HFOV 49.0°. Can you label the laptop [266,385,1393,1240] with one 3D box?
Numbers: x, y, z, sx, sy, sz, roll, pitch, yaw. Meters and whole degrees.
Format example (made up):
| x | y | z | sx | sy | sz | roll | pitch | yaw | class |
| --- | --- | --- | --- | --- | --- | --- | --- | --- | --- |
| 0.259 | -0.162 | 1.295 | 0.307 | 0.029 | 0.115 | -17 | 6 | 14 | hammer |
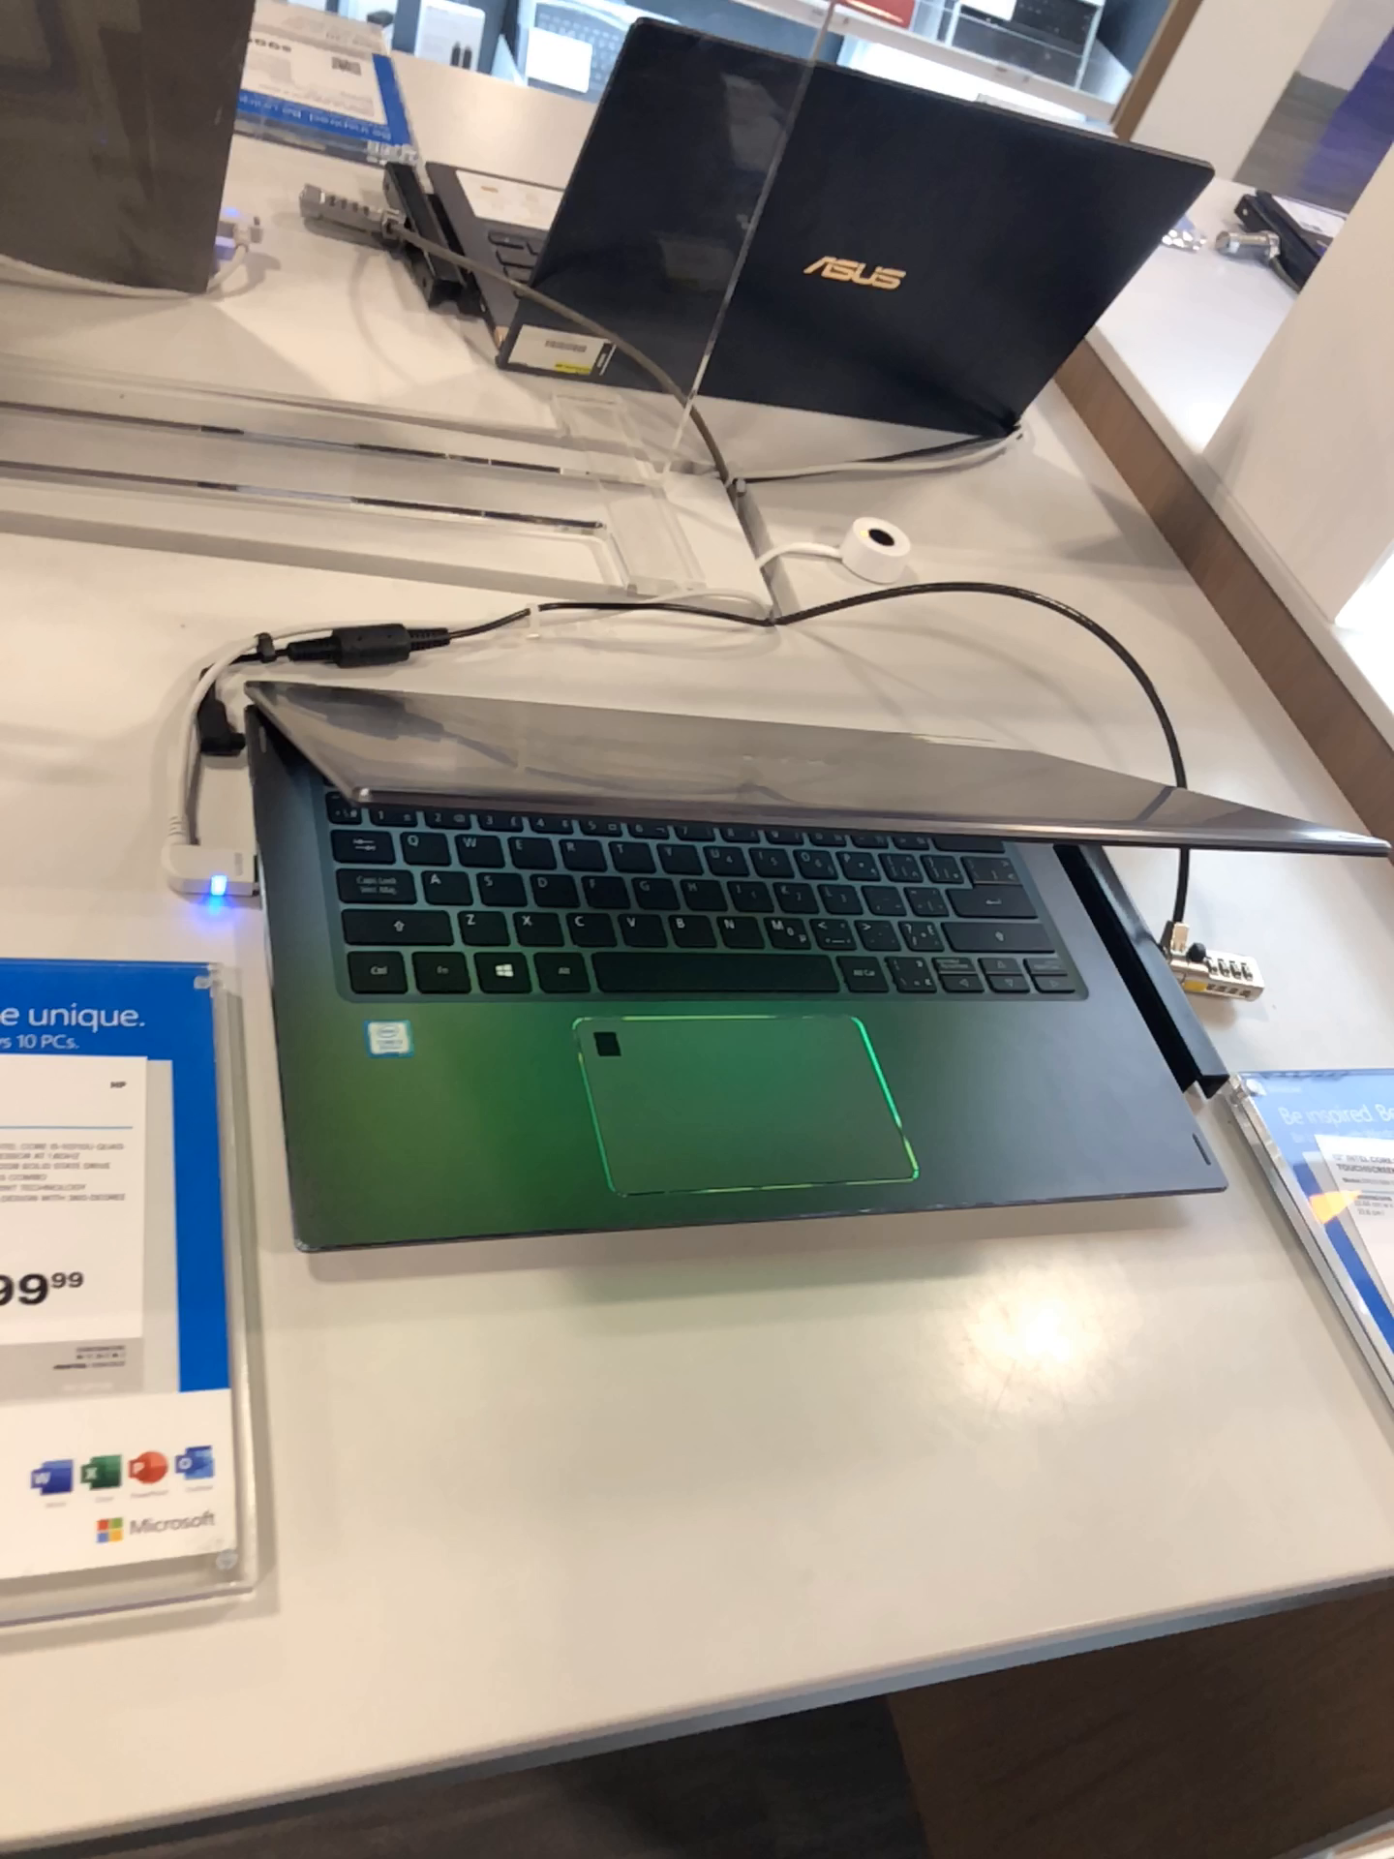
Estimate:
| x | y | z | sx | sy | sz | roll | pitch | yaw | class |
| --- | --- | --- | --- | --- | --- | --- | --- | --- | --- |
| 0.032 | -0.037 | 0.484 | 0.301 | 0.123 | 0.212 | 1 | 49 | -24 | laptop |
